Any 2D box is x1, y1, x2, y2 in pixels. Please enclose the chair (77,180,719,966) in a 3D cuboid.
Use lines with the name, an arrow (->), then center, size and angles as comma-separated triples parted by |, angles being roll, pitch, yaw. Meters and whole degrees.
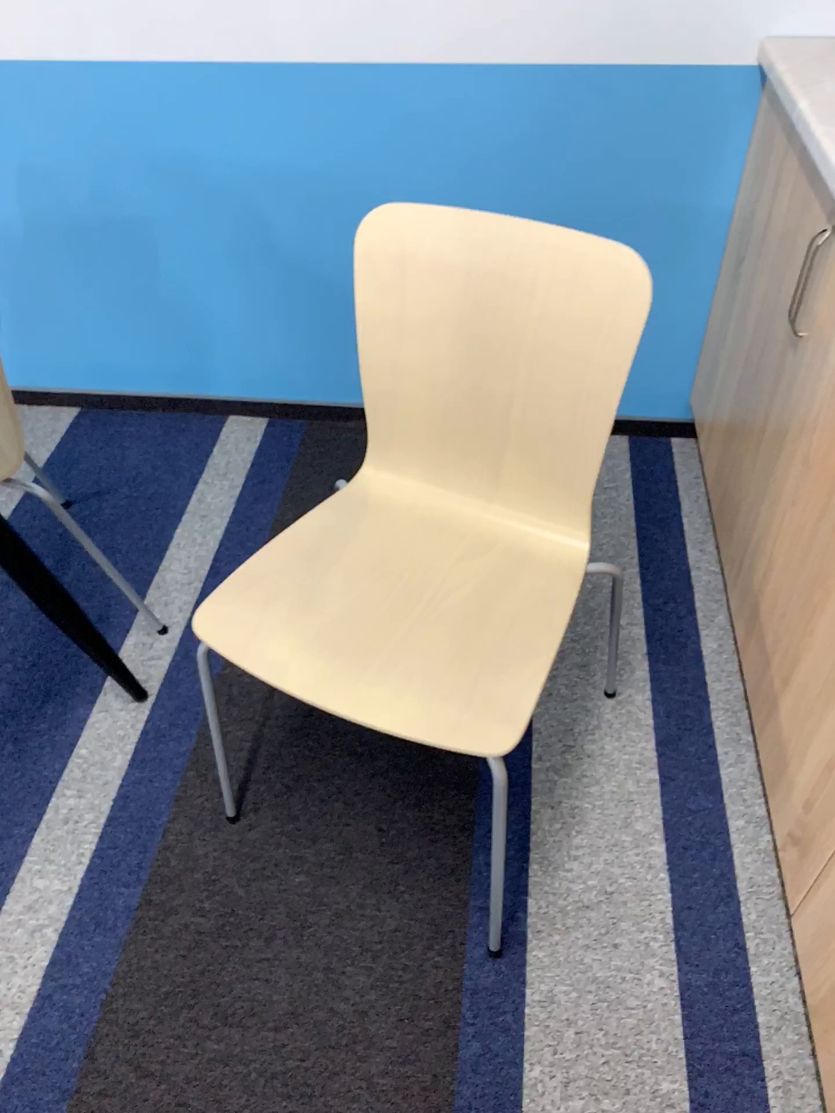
chair -> 0.027, 0.031, 1.211 | 0.476, 0.836, 0.572 | 19, 47, 21
